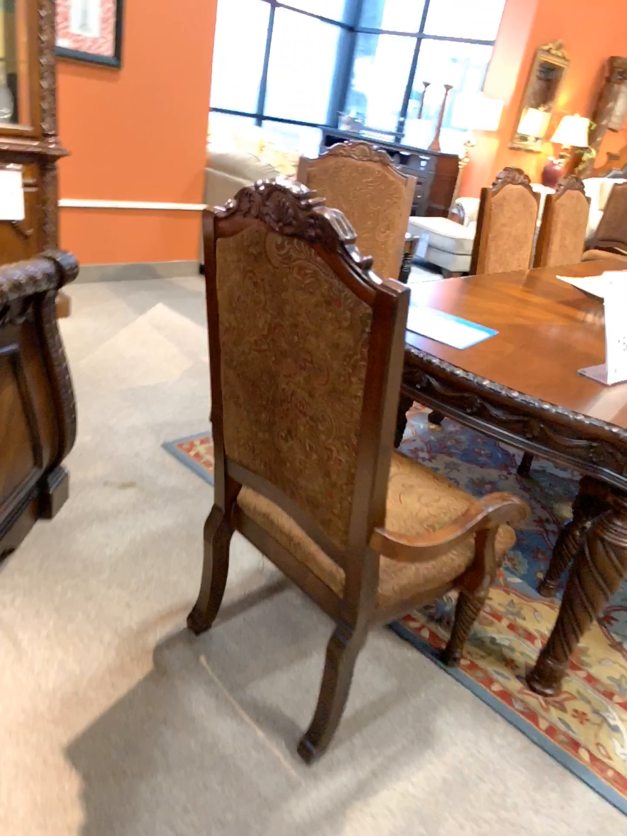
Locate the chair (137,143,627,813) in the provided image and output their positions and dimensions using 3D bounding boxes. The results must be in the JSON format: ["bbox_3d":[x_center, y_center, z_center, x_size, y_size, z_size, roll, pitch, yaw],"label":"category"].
[{"bbox_3d":[0.096,0.082,1.395,0.671,1.123,0.585,-15,36,-42],"label":"chair"}]

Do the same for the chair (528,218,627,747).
[{"bbox_3d":[1.169,0.125,1.703,0.564,1.133,0.621,-14,36,-42],"label":"chair"}]

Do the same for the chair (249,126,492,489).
[{"bbox_3d":[0.145,-0.440,2.507,0.603,1.183,0.672,8,26,-6],"label":"chair"}]
